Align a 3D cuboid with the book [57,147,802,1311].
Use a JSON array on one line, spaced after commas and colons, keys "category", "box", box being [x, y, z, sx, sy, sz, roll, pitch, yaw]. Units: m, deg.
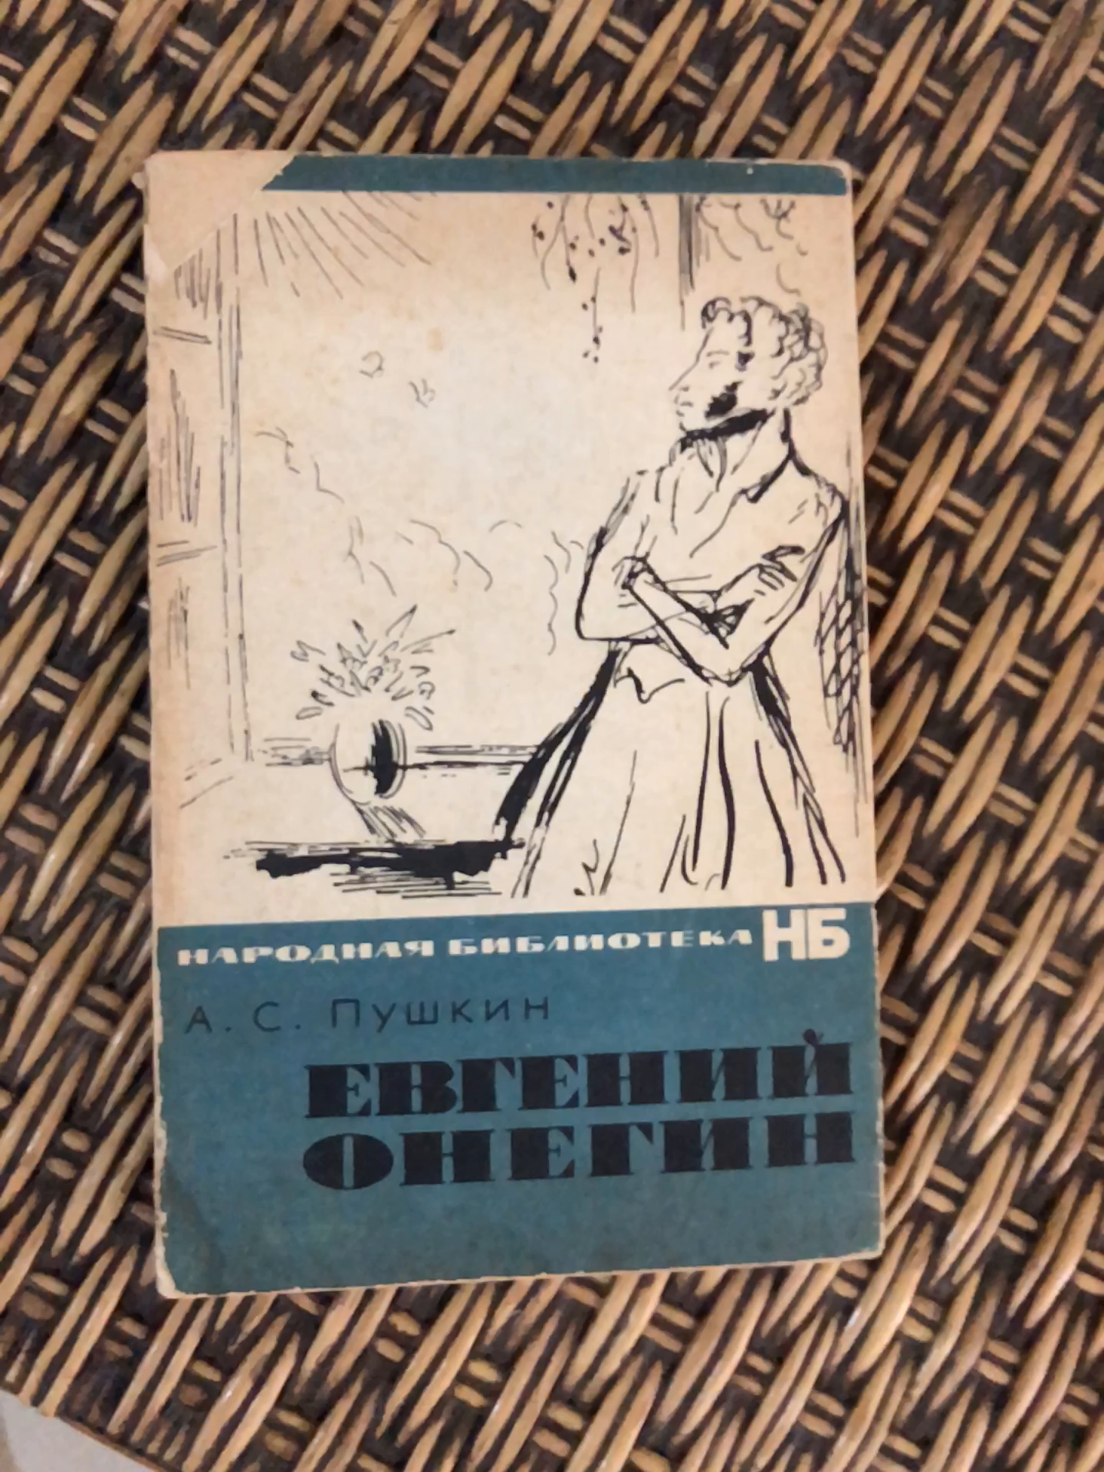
[{"category": "book", "box": [-0.021, -0.003, 0.216, 0.120, 0.020, 0.190, -1, 88, -4]}]
